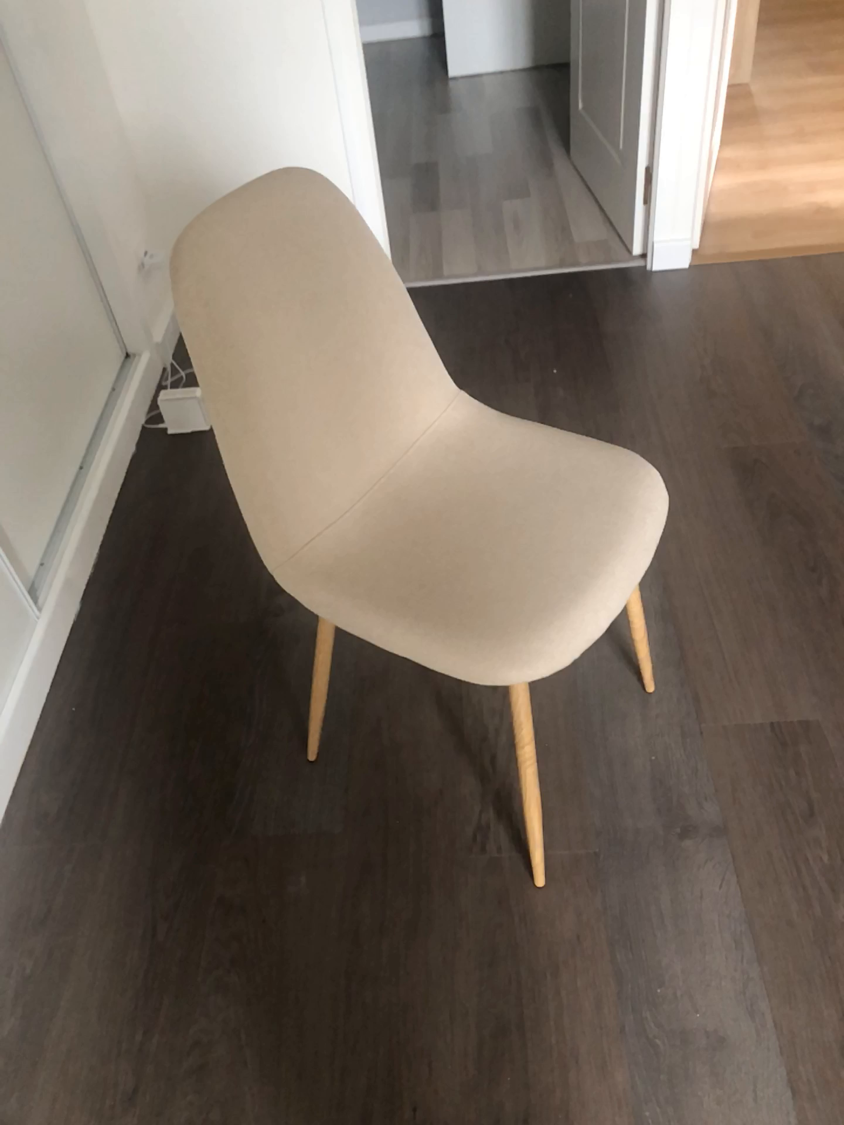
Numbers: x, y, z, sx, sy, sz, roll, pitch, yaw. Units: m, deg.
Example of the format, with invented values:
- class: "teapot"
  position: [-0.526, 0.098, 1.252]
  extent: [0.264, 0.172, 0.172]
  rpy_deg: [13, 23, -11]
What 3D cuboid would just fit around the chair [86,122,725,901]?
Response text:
- class: "chair"
  position: [0.029, -0.044, 1.236]
  extent: [0.500, 0.845, 0.432]
  rpy_deg: [22, 52, 28]
